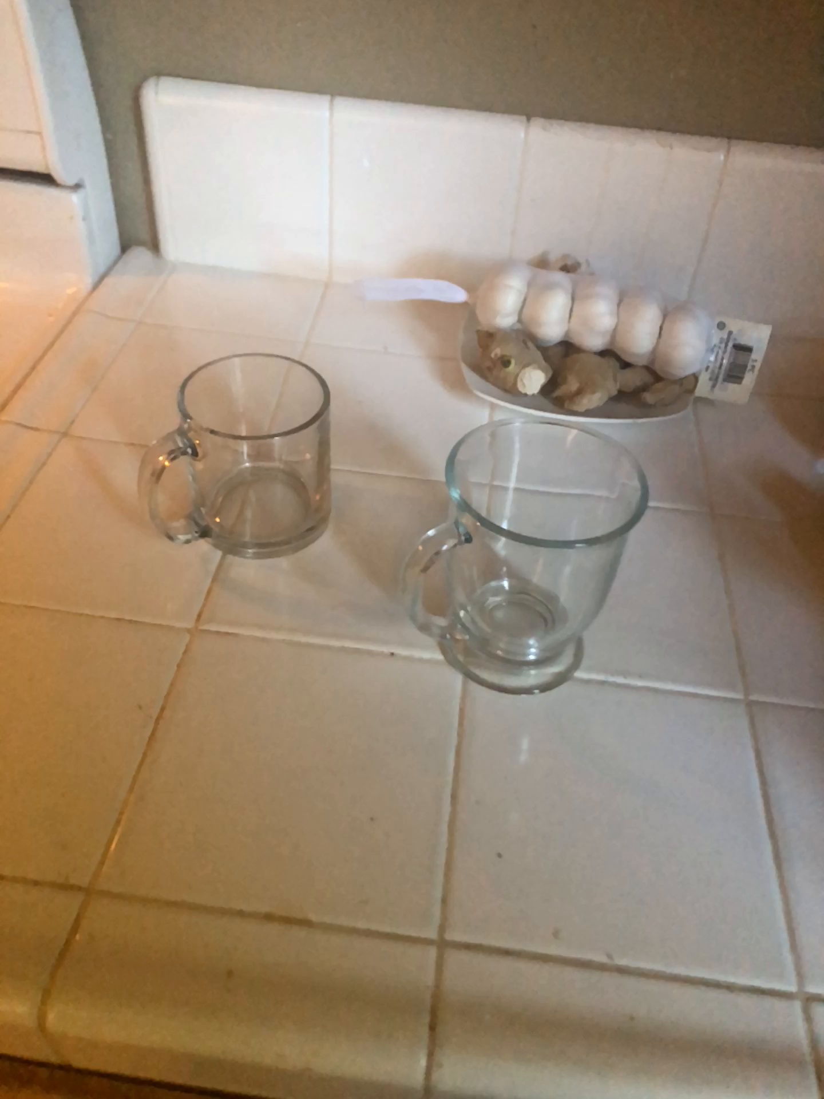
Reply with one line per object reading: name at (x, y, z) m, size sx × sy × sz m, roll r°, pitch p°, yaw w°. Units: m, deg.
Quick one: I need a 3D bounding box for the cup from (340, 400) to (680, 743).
cup at (0.040, 0.010, 0.459) m, size 0.130 × 0.119 × 0.091 m, roll -13°, pitch 47°, yaw -17°

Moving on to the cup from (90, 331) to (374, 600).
cup at (-0.103, -0.052, 0.534) m, size 0.131 × 0.089 × 0.090 m, roll -20°, pitch 49°, yaw -24°
